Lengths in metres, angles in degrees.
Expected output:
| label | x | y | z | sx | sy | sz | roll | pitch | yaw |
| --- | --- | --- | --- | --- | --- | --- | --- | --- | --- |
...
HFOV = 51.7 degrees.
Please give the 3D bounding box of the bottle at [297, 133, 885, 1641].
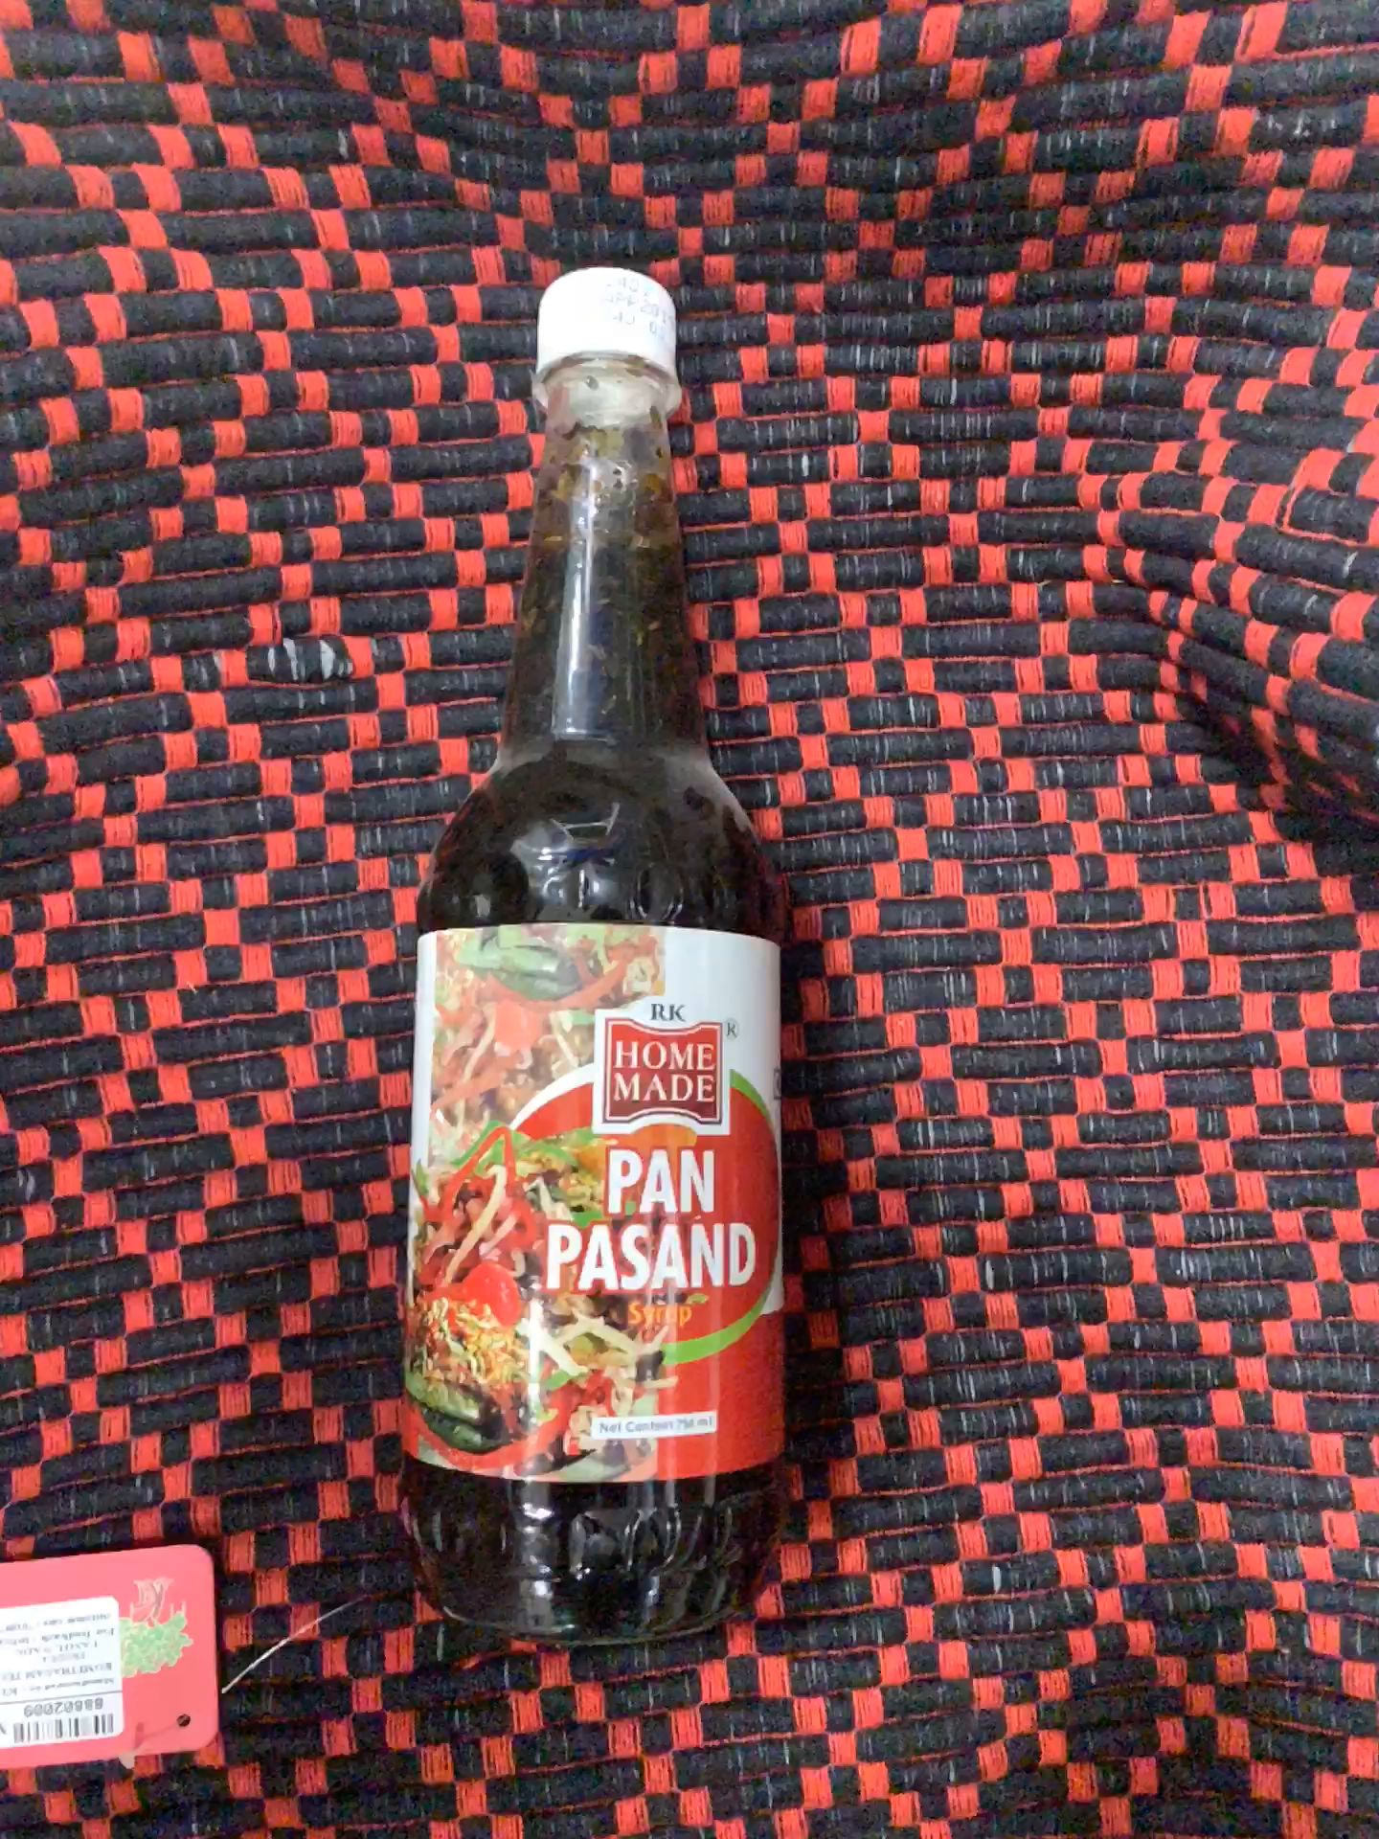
| label | x | y | z | sx | sy | sz | roll | pitch | yaw |
| --- | --- | --- | --- | --- | --- | --- | --- | --- | --- |
| bottle | -0.015 | -0.014 | 0.293 | 0.090 | 0.080 | 0.280 | 1 | 75 | -2 |
